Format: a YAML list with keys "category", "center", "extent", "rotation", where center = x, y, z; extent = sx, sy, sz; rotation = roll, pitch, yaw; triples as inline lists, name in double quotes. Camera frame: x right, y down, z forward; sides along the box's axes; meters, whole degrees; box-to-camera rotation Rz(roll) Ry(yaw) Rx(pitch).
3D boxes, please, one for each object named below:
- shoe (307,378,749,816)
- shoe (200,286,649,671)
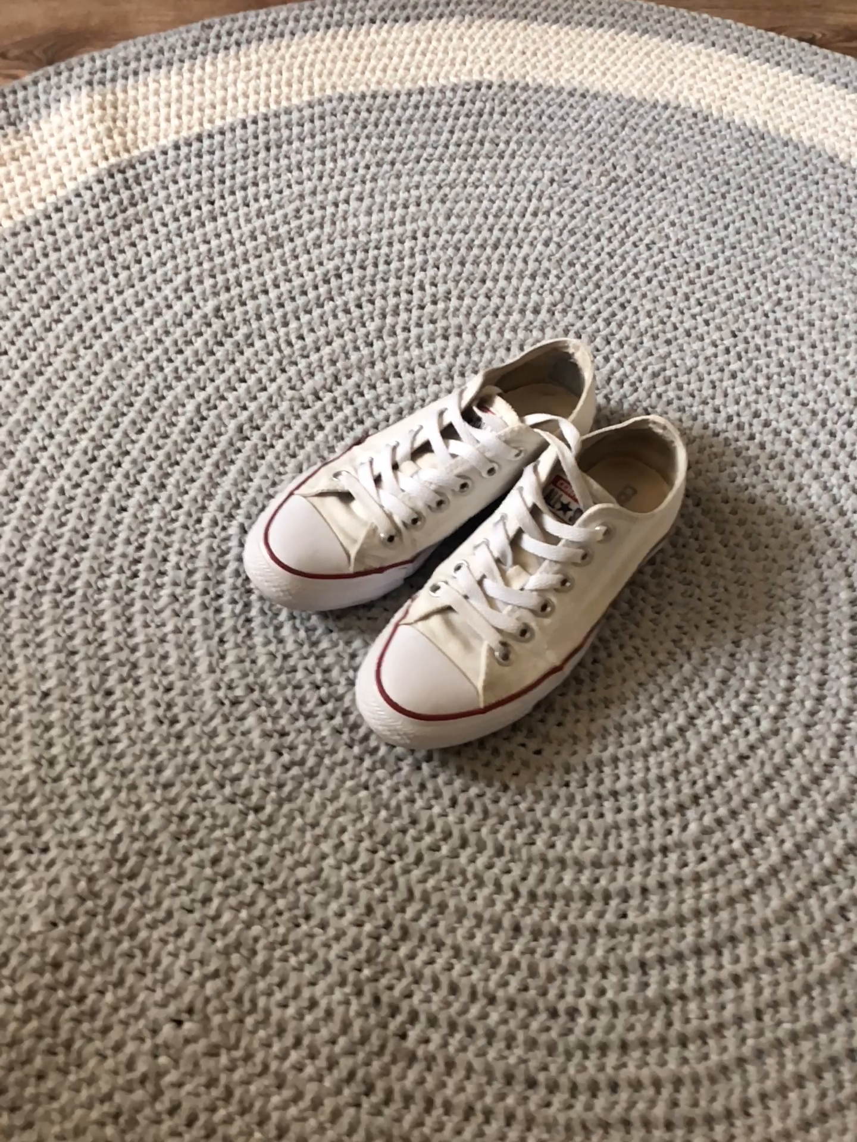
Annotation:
- category: "shoe"
  center: [0.058, 0.008, 0.529]
  extent: [0.100, 0.070, 0.240]
  rotation: [41, 67, 18]
- category: "shoe"
  center: [0.002, -0.061, 0.565]
  extent: [0.247, 0.070, 0.100]
  rotation: [-35, 68, -20]
